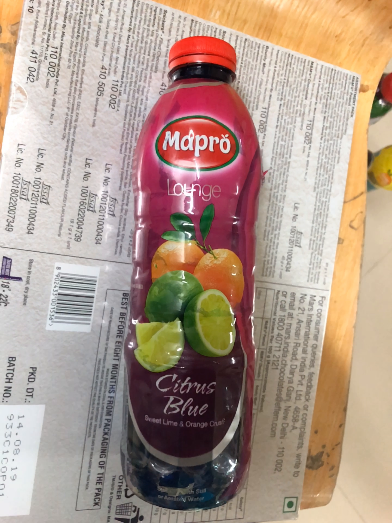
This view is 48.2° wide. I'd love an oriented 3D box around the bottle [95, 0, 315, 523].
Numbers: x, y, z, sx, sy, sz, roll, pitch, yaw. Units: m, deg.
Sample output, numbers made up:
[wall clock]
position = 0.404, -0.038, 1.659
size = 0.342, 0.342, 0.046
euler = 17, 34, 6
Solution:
[bottle]
position = 0.004, -0.008, 0.253
size = 0.090, 0.080, 0.270
euler = 4, 94, 3
